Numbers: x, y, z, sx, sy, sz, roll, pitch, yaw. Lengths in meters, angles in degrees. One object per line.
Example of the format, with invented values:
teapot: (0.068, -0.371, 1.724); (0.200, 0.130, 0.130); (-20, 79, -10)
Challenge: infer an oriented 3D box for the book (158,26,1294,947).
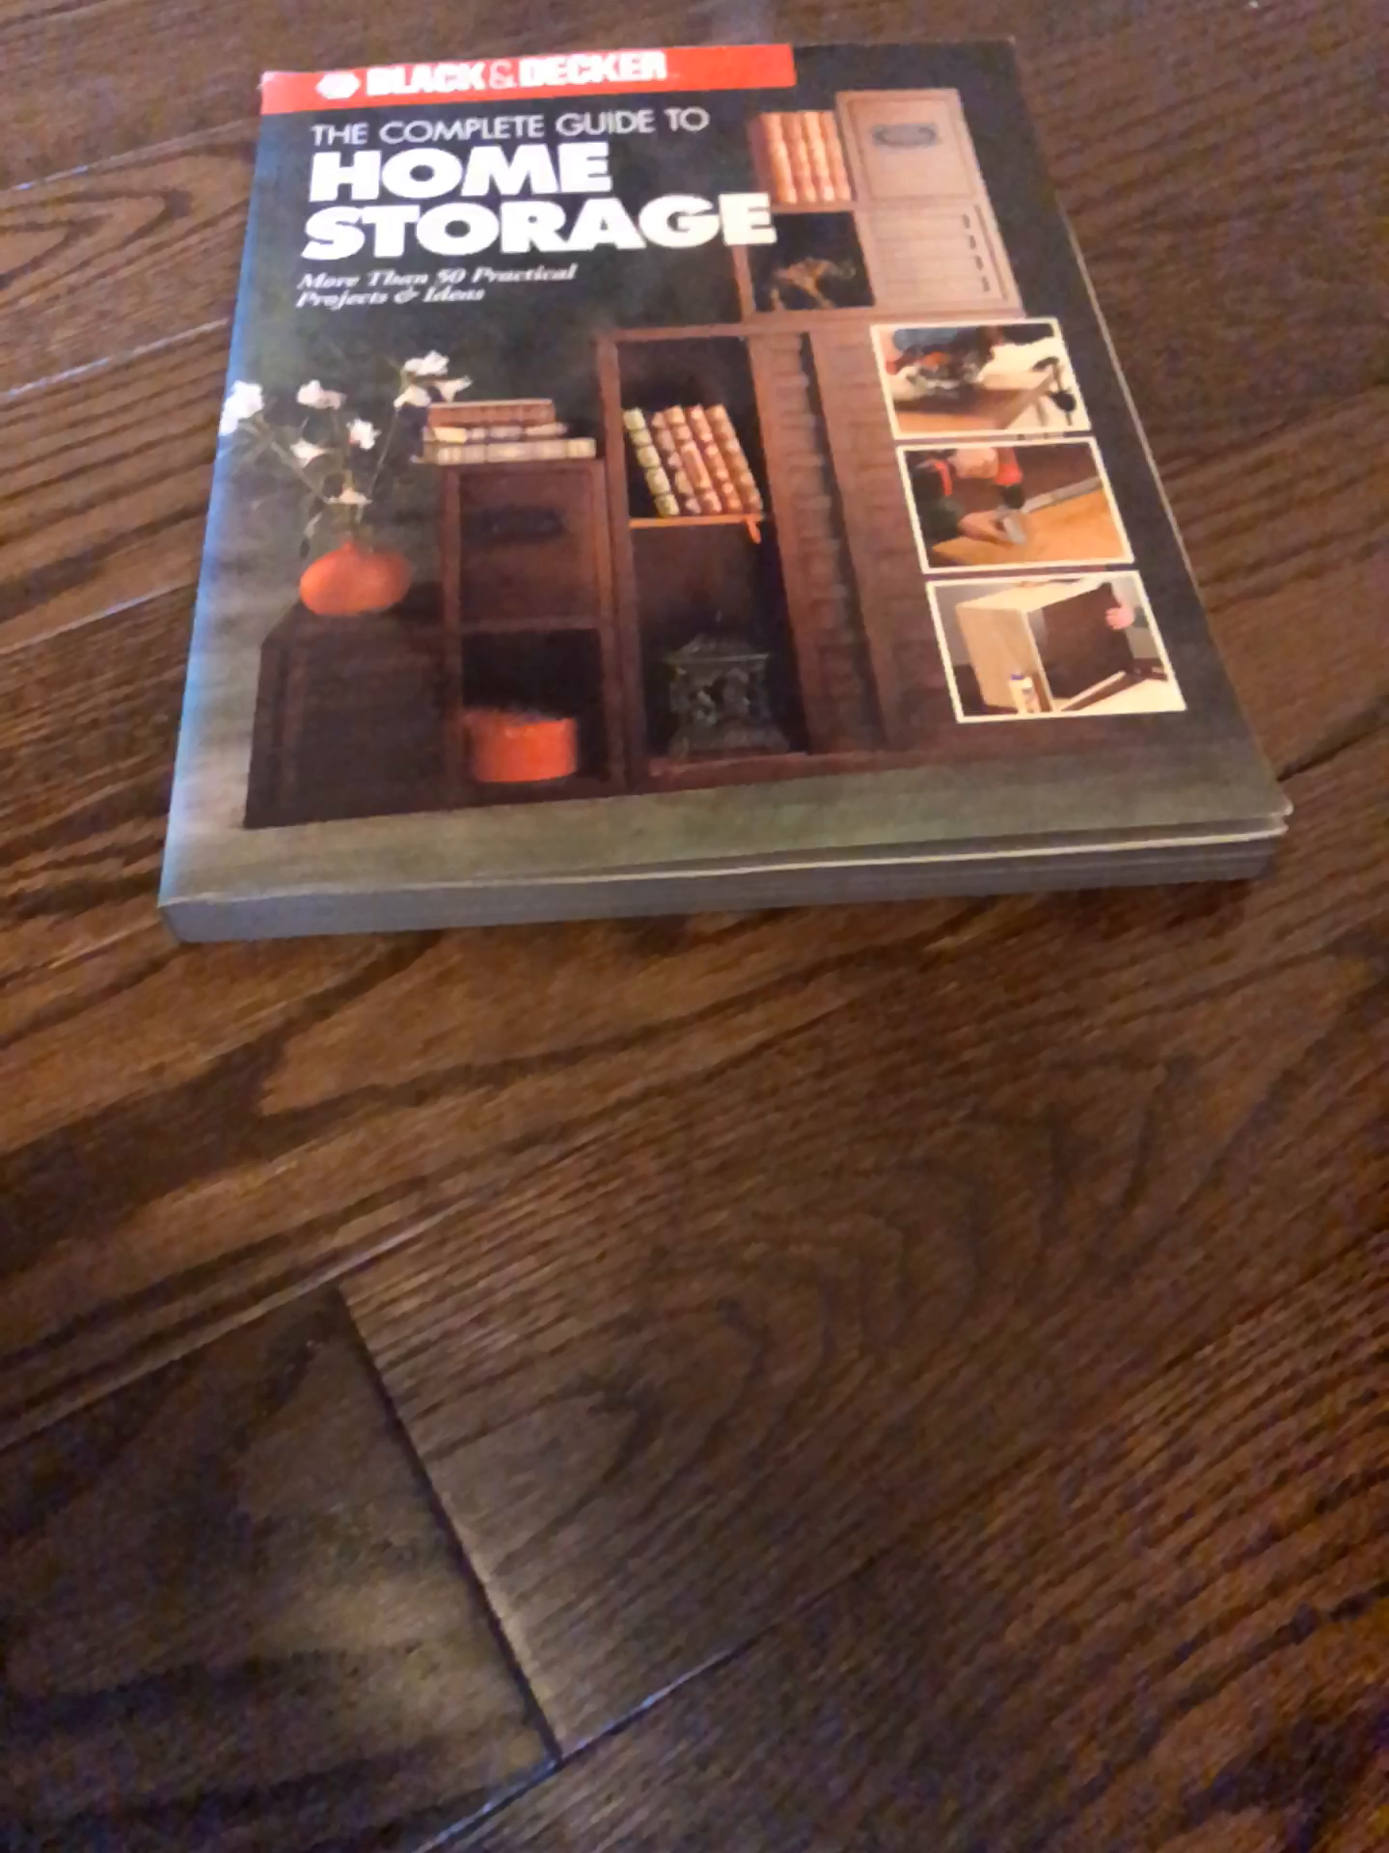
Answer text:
book: (-0.004, -0.129, 0.377); (0.215, 0.020, 0.287); (-4, 58, -3)
